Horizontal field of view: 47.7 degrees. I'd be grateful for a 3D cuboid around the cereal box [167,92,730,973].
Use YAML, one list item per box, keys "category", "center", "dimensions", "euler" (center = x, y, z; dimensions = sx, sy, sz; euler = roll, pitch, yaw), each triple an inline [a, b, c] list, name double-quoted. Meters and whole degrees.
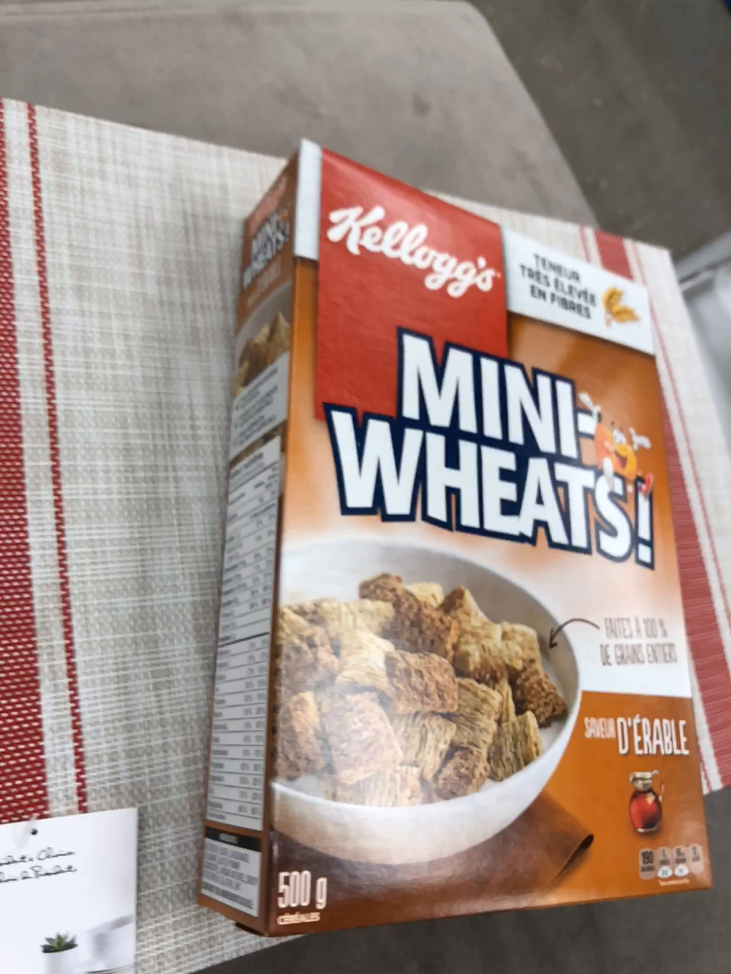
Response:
- category: "cereal box"
  center: [0.046, 0.019, 0.328]
  dimensions: [0.211, 0.060, 0.280]
  euler: [11, 70, -29]
